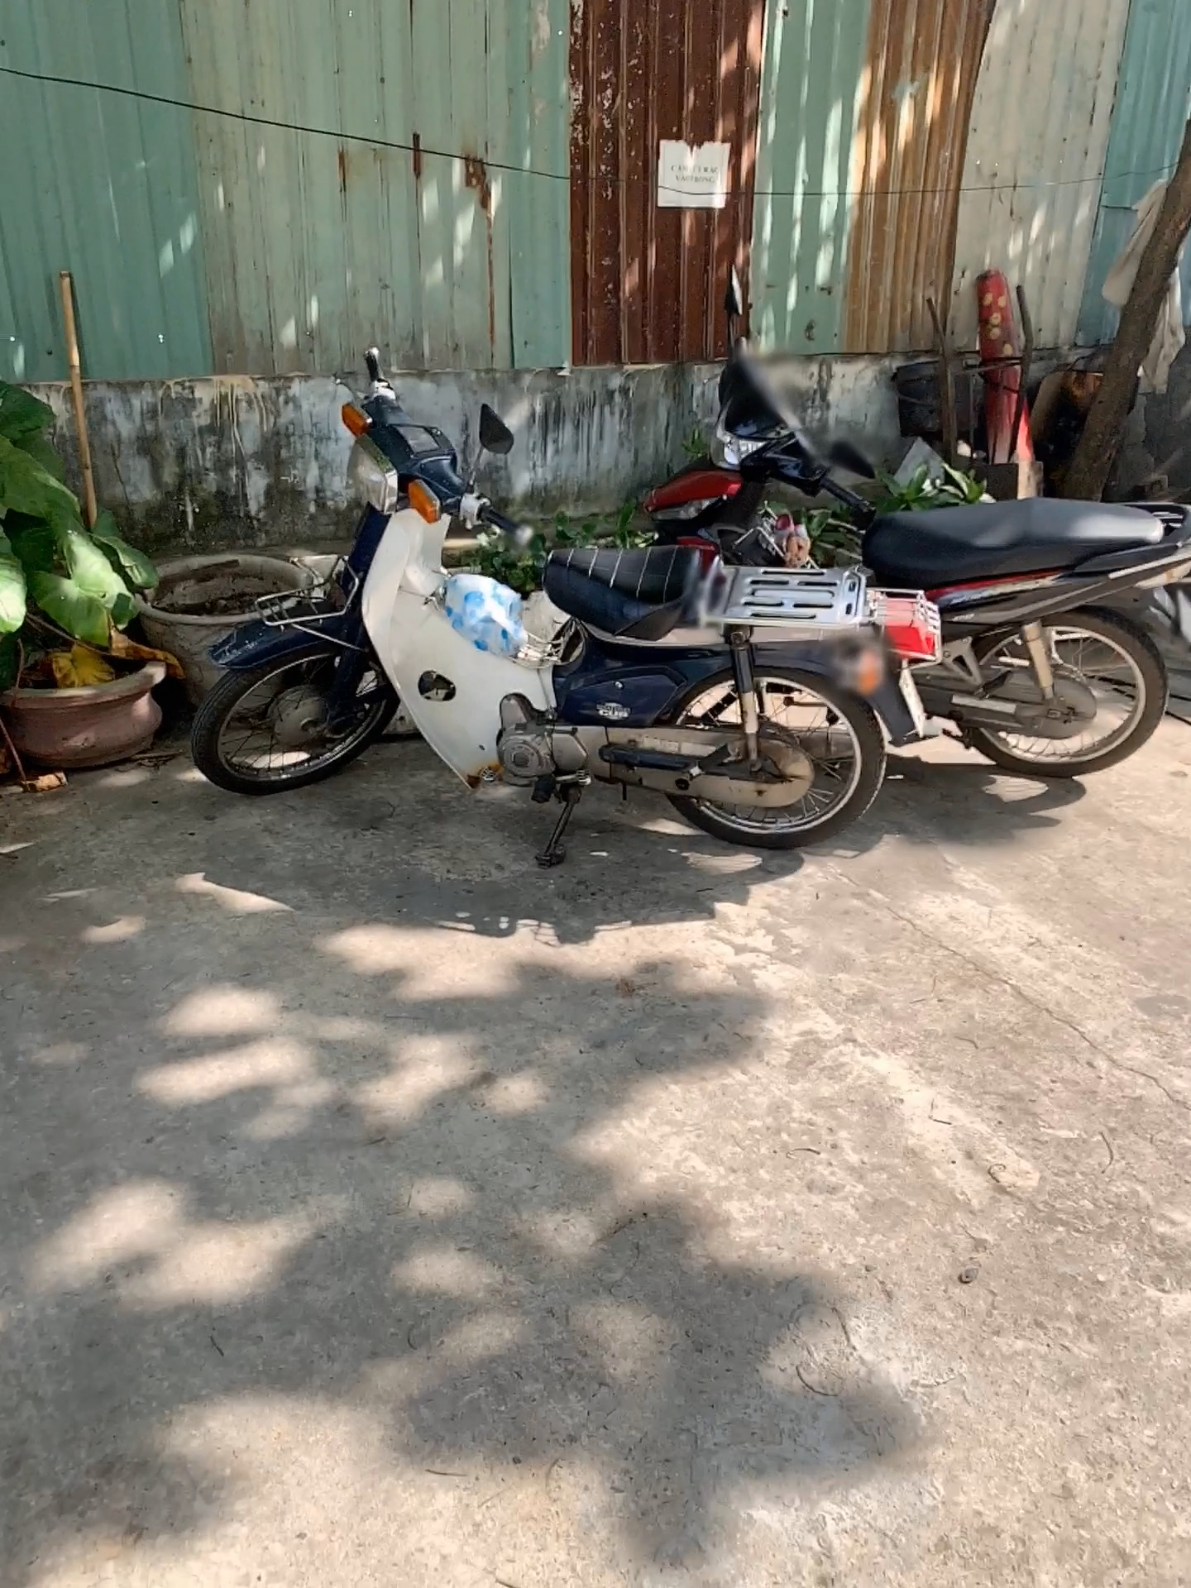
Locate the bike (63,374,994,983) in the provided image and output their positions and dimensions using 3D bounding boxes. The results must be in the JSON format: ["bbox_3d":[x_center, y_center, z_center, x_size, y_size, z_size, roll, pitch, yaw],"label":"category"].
[{"bbox_3d":[-0.124,-0.245,2.427,1.474,1.024,0.656,1,25,3],"label":"bike"}]
